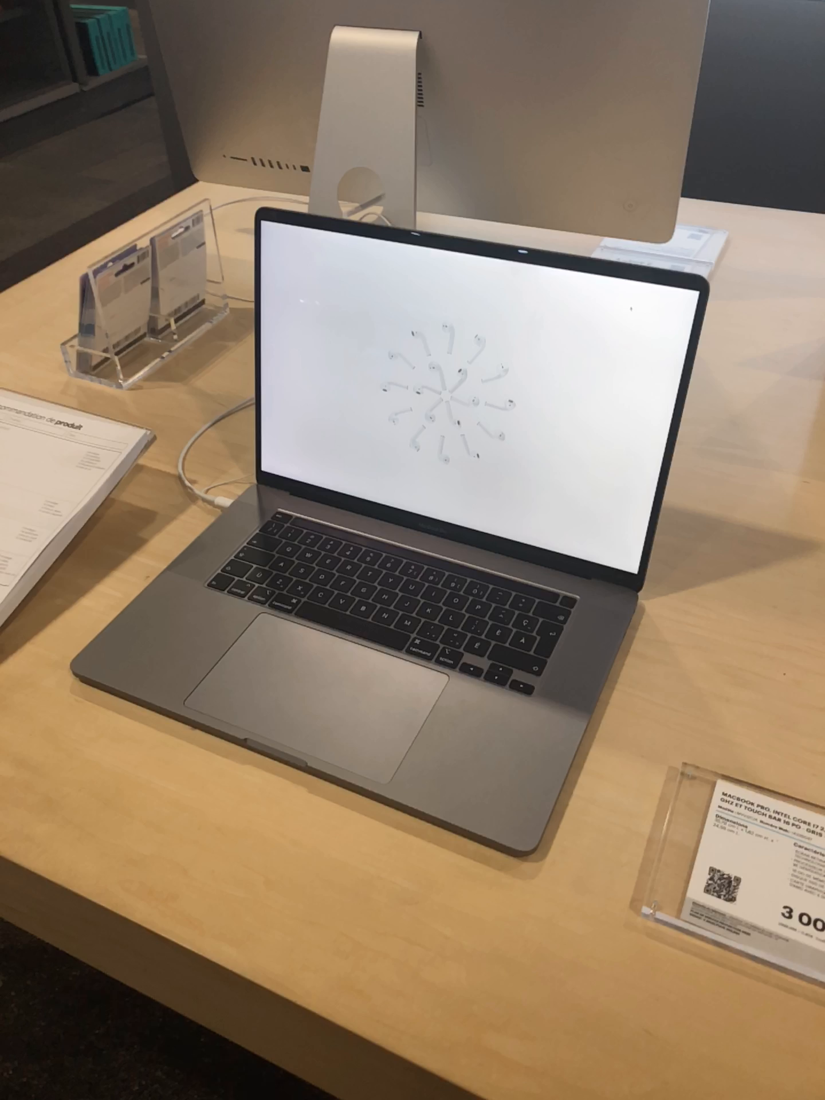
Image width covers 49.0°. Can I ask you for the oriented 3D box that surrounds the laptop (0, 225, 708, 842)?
[{"bbox_3d":[-0.026,-0.041,0.618,0.344,0.227,0.292,15,43,21],"label":"laptop"}]
